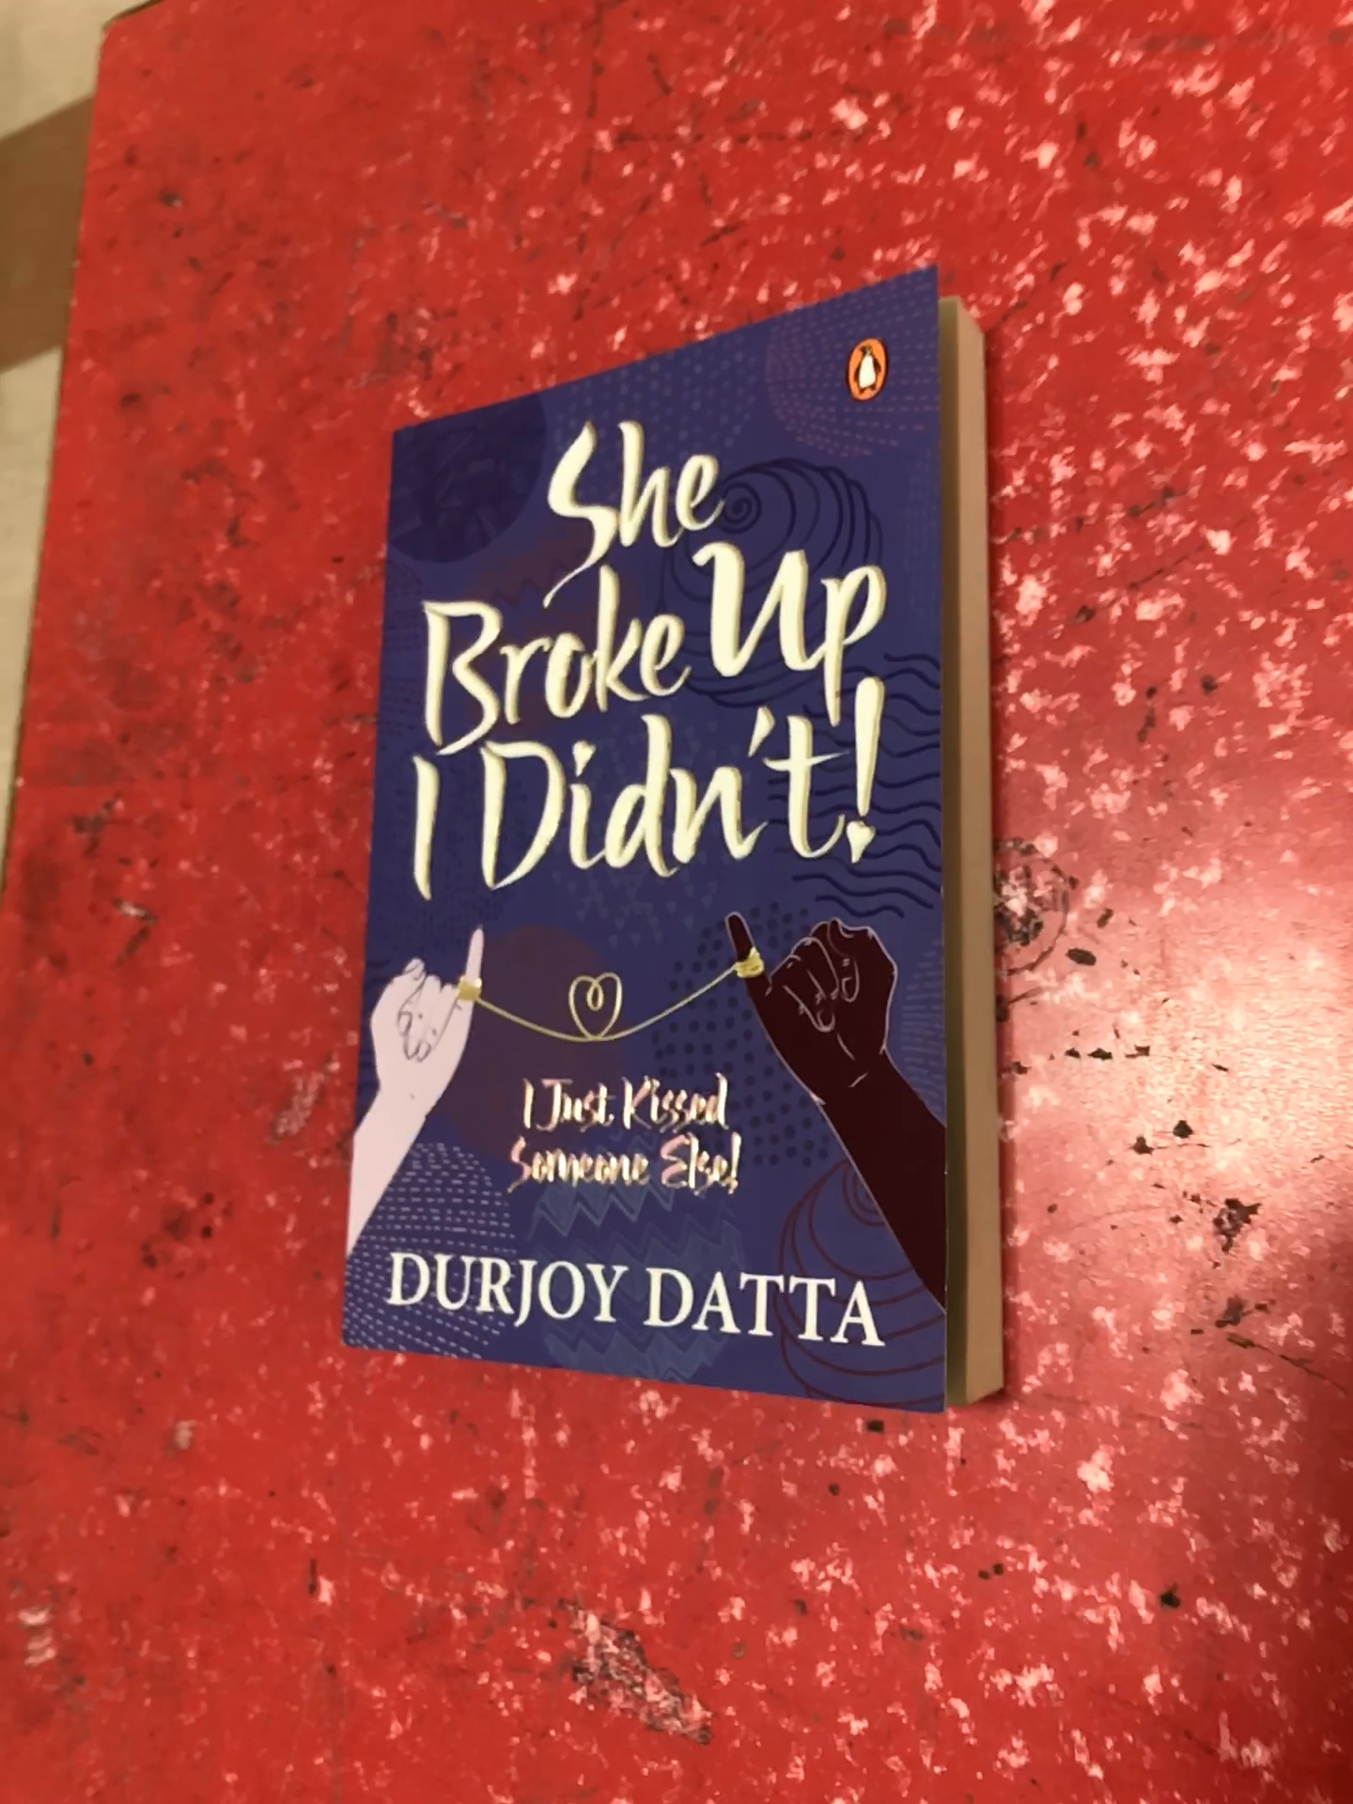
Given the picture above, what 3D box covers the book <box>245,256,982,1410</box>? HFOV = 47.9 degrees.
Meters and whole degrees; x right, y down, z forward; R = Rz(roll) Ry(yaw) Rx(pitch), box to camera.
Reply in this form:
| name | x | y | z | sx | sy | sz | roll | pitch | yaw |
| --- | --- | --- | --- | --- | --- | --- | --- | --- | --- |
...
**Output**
| name | x | y | z | sx | sy | sz | roll | pitch | yaw |
| --- | --- | --- | --- | --- | --- | --- | --- | --- | --- |
| book | -0.012 | -0.010 | 0.292 | 0.130 | 0.040 | 0.190 | -4 | 78 | 28 |
